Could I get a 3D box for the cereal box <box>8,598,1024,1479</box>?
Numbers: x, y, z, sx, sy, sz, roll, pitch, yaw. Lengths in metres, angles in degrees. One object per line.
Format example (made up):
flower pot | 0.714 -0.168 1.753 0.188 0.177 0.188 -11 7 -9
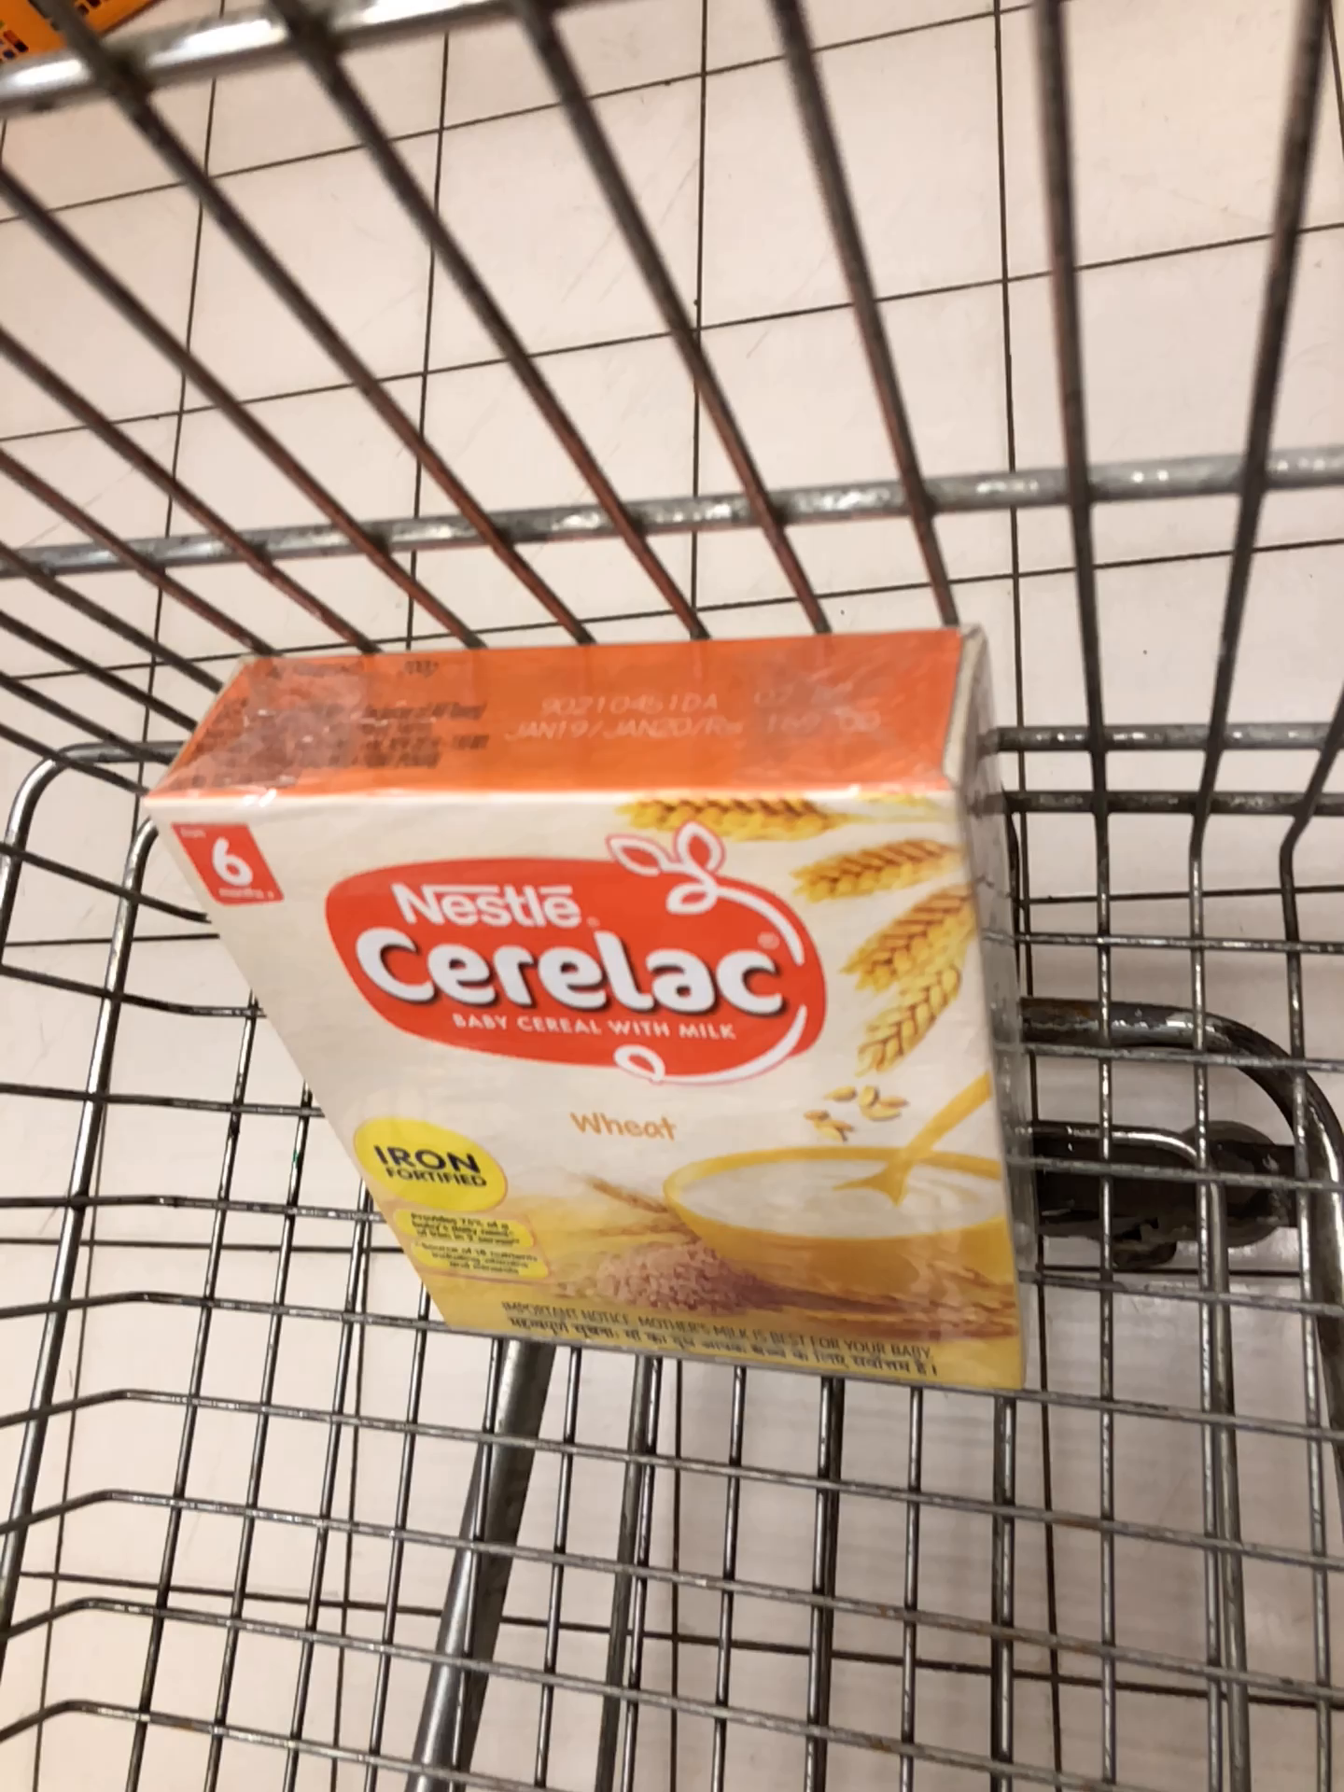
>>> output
cereal box | -0.013 0.036 0.291 0.150 0.179 0.050 1 42 18
